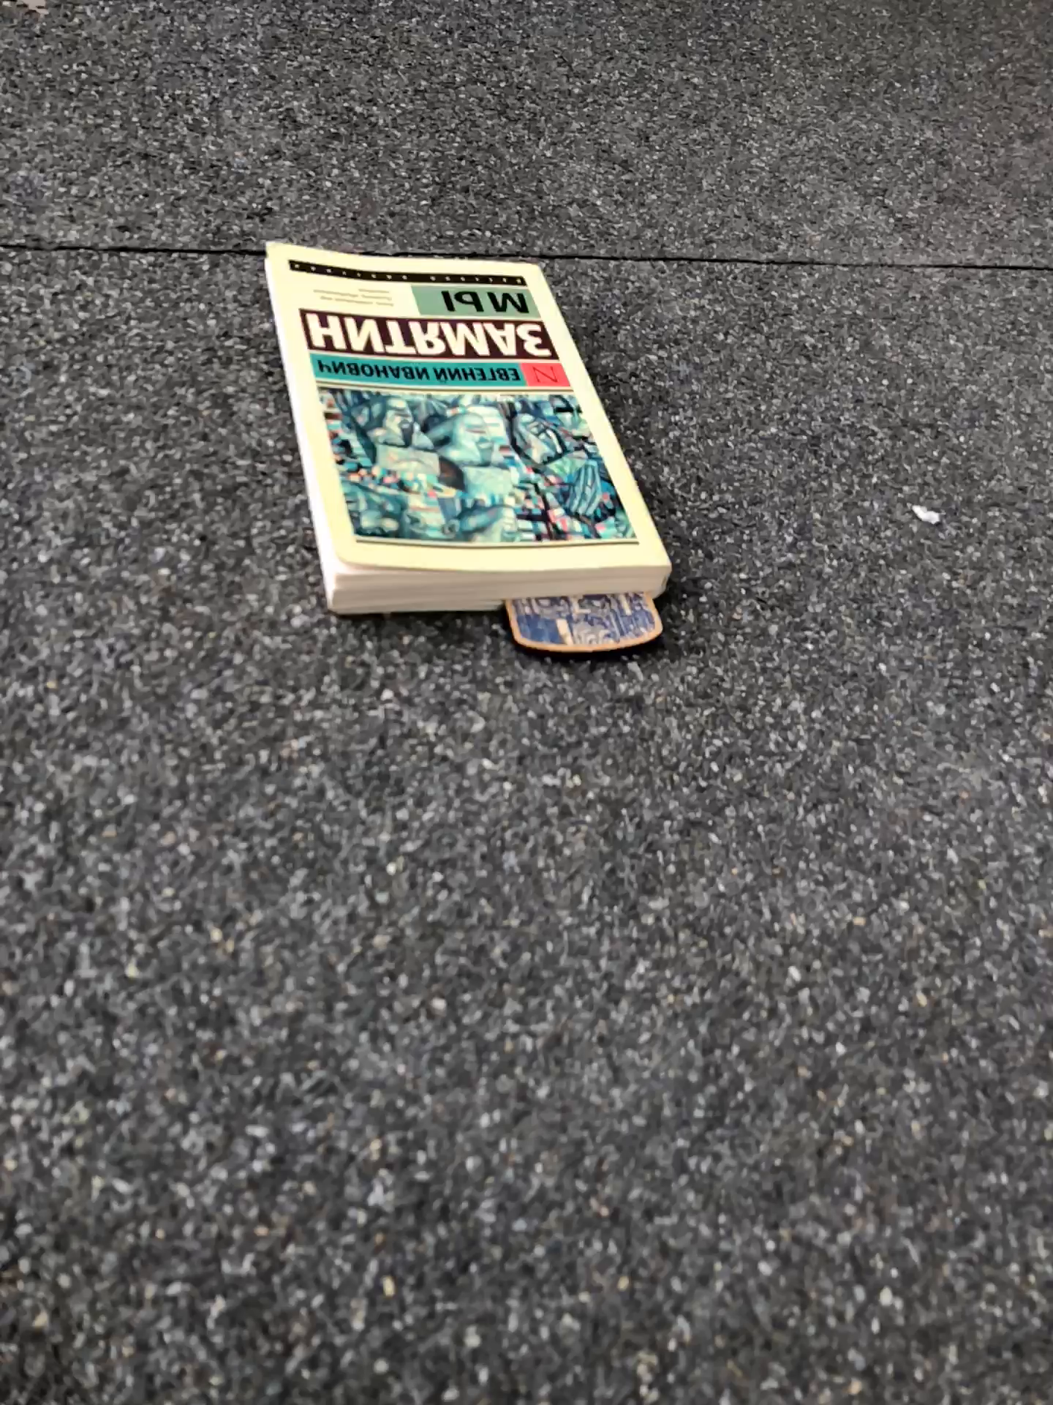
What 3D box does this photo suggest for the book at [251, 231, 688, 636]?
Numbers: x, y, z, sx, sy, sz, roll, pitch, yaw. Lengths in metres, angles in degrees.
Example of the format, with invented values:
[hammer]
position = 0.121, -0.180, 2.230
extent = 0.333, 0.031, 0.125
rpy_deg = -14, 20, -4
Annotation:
[book]
position = -0.029, -0.104, 0.415
extent = 0.120, 0.027, 0.183
rpy_deg = -4, 53, -18
